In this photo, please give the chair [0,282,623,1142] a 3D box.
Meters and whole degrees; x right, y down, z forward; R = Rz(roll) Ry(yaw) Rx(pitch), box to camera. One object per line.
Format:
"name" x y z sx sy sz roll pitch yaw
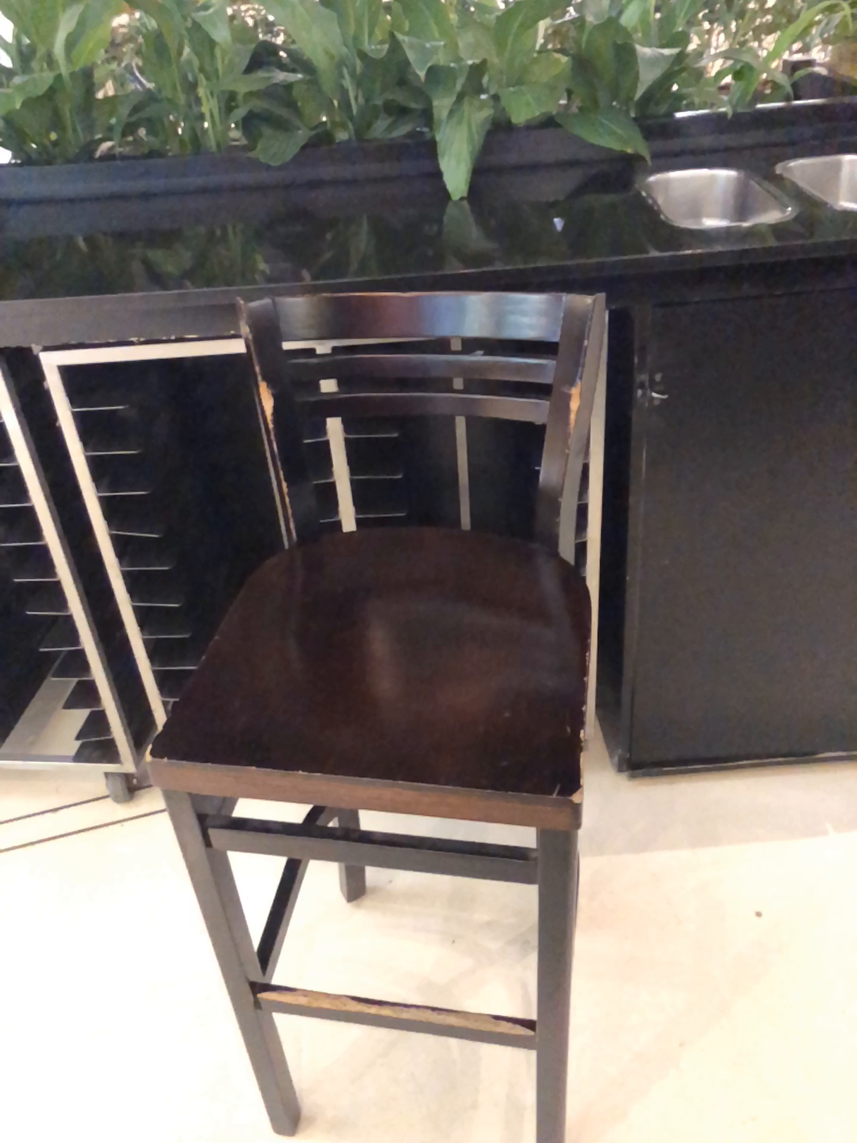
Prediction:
"chair" -0.025 0.207 1.059 0.440 0.913 0.453 2 35 12
